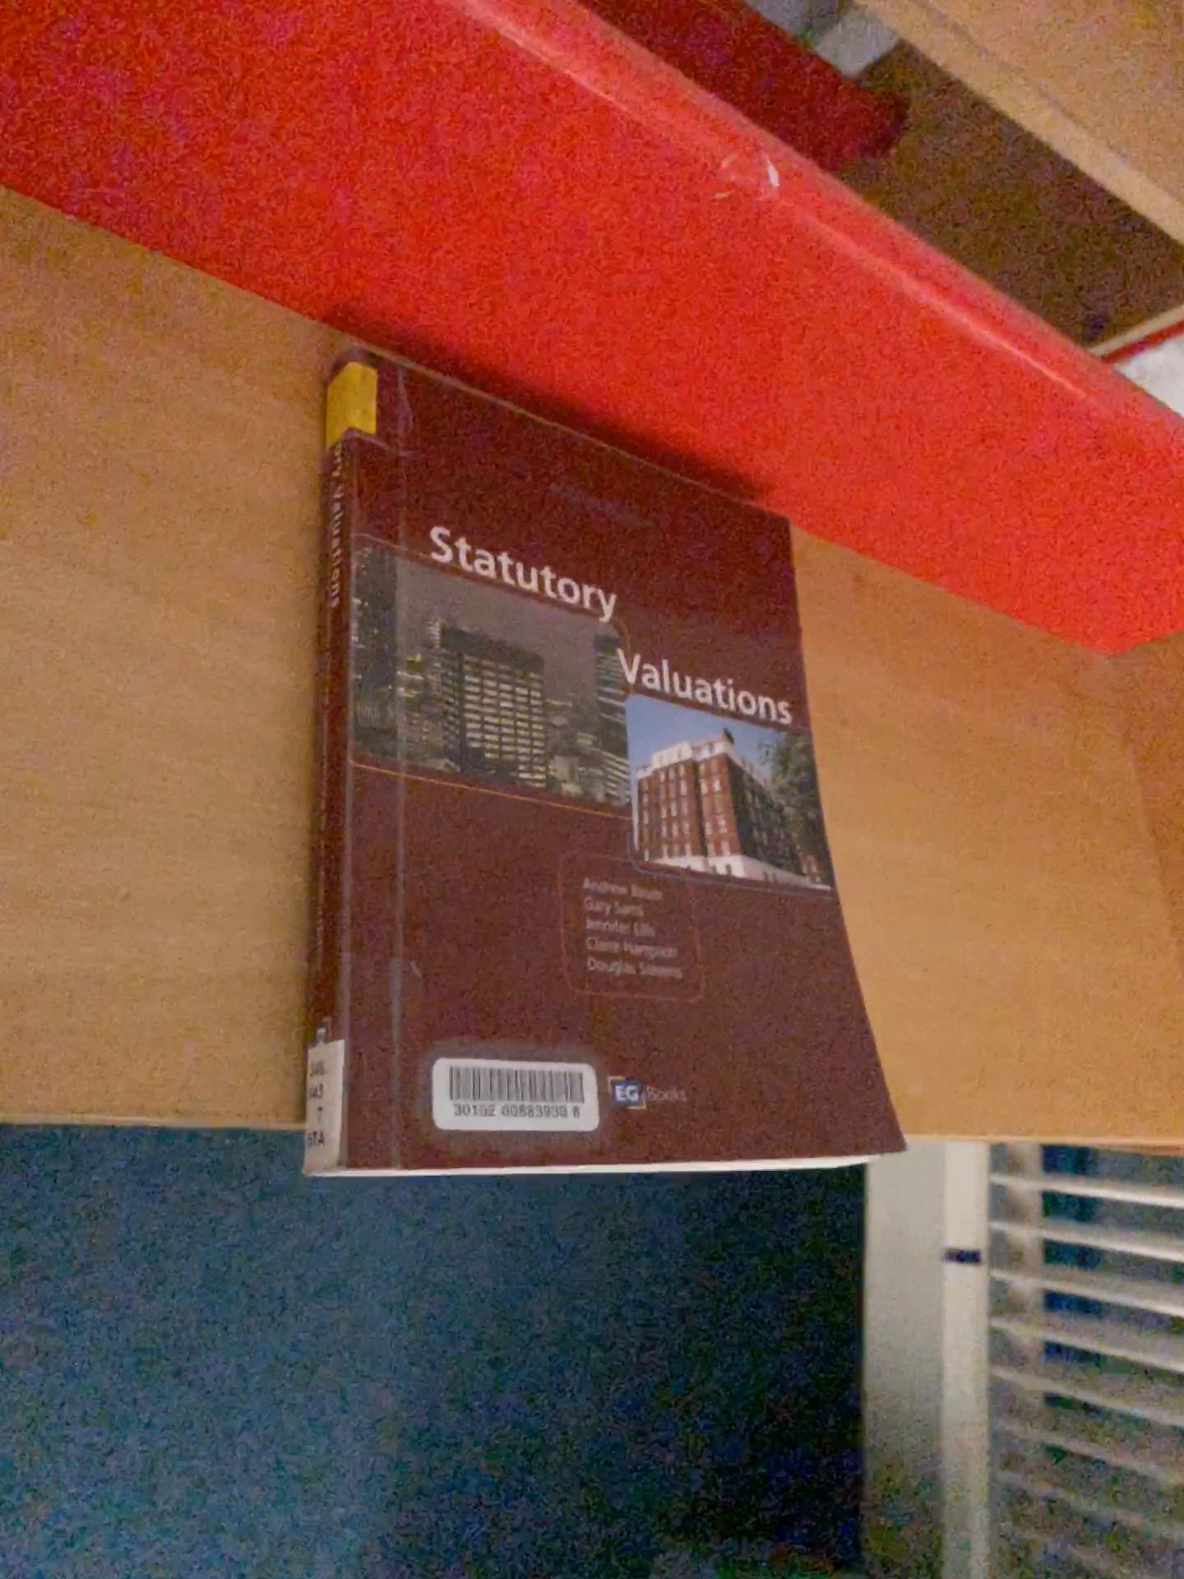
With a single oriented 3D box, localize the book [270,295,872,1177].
[{"bbox_3d":[-0.002,-0.011,0.388,0.189,0.027,0.252,12,64,-35],"label":"book"}]
